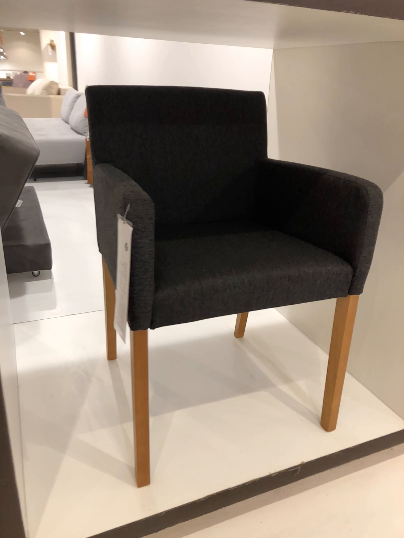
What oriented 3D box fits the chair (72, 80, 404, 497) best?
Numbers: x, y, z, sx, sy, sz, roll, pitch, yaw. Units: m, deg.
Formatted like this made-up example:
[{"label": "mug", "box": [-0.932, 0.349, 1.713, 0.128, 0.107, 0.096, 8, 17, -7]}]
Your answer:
[{"label": "chair", "box": [0.023, -0.026, 1.126, 0.561, 0.794, 0.563, -7, 25, -23]}]
